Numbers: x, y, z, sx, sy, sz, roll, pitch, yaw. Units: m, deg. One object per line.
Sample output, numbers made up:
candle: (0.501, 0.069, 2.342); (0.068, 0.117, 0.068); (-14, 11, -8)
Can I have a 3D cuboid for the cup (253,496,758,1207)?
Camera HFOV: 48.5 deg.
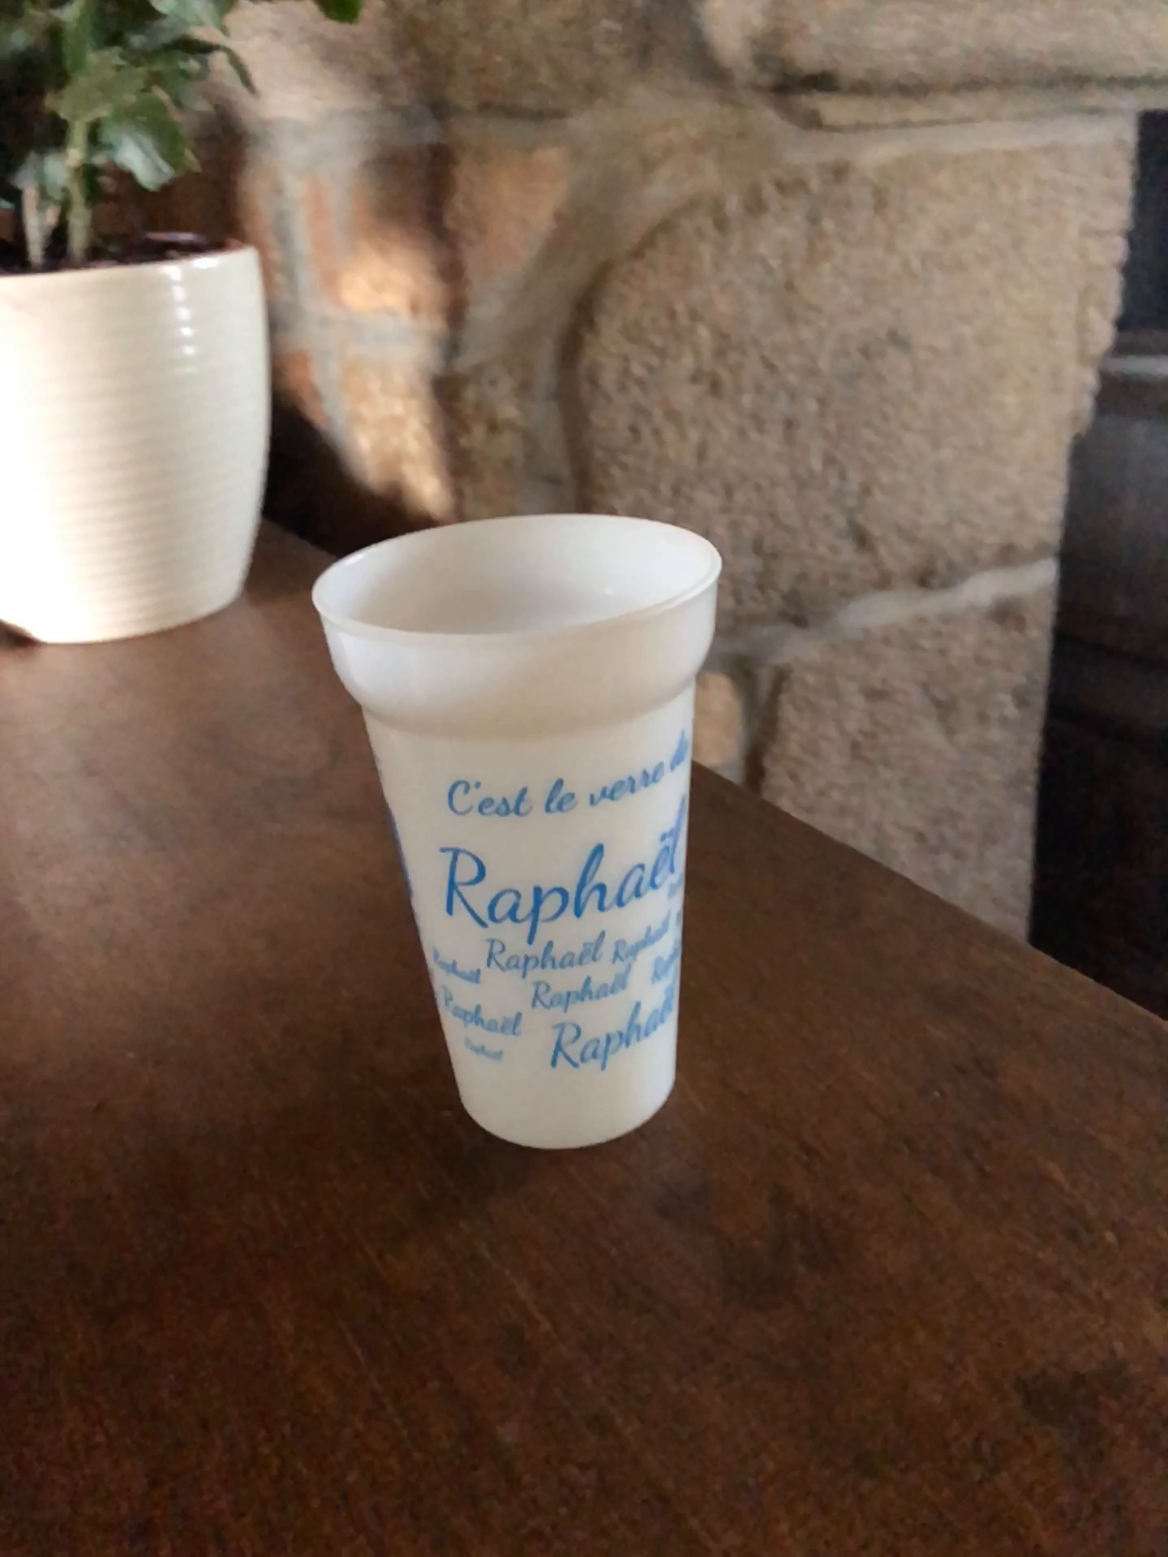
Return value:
cup: (-0.009, 0.012, 0.269); (0.080, 0.119, 0.080); (-4, 25, 2)
